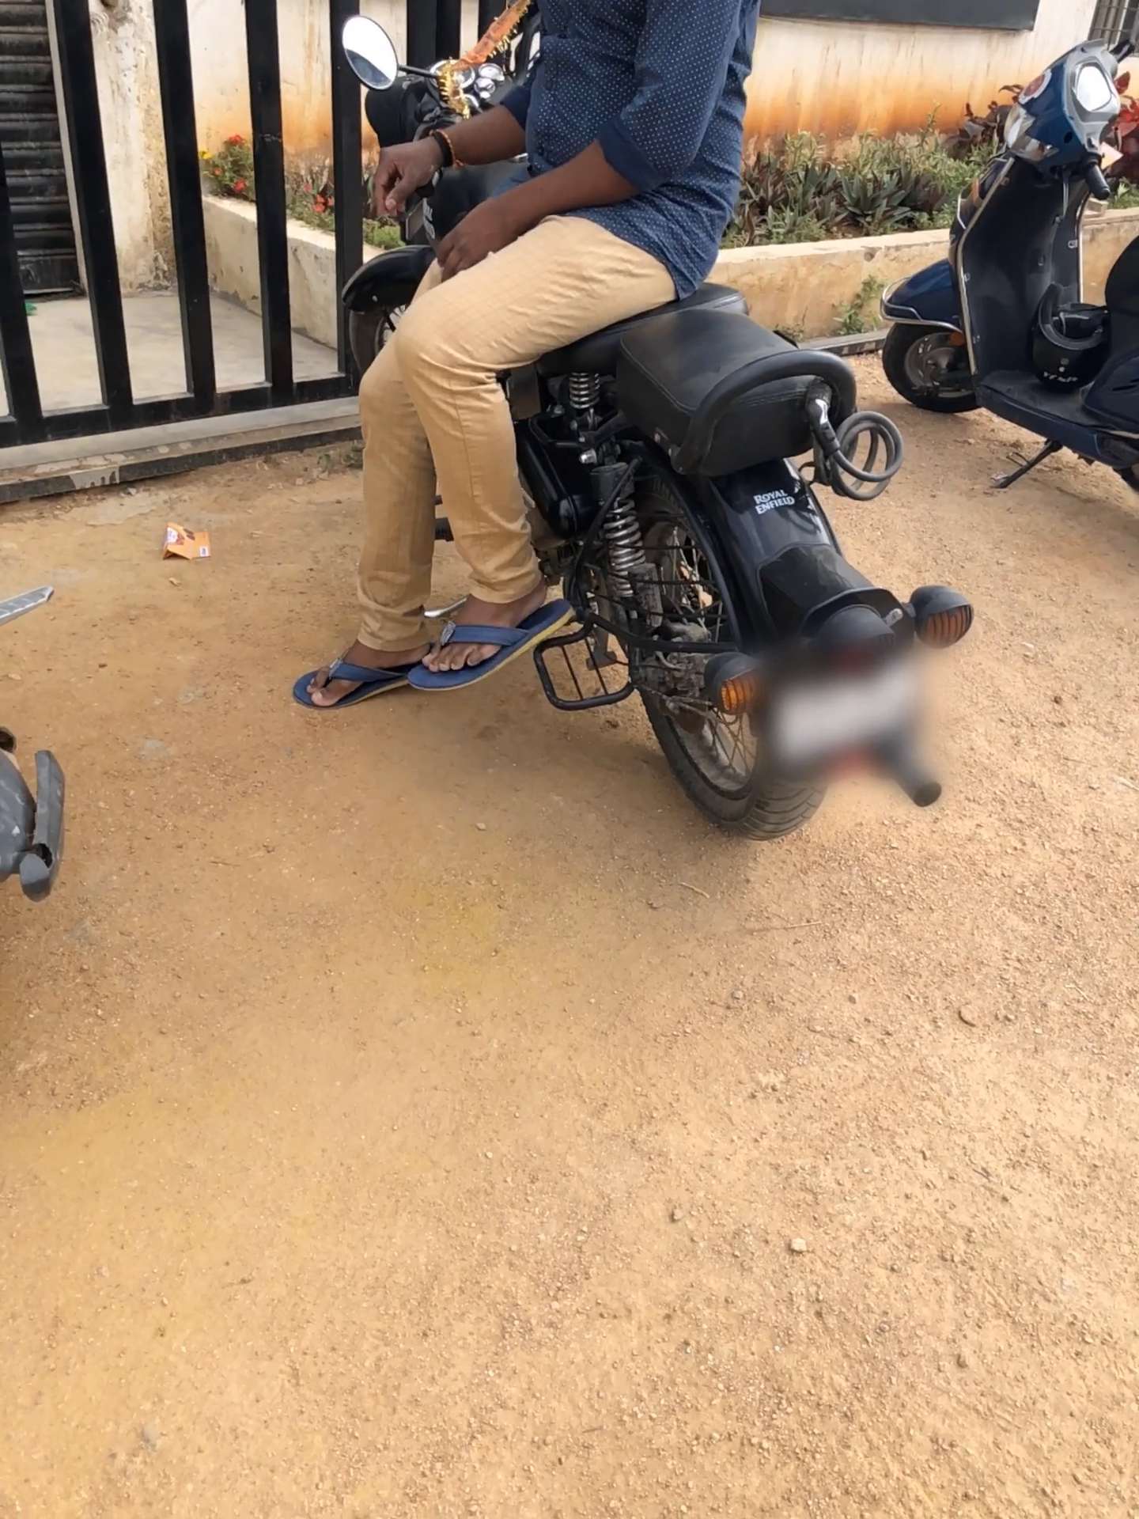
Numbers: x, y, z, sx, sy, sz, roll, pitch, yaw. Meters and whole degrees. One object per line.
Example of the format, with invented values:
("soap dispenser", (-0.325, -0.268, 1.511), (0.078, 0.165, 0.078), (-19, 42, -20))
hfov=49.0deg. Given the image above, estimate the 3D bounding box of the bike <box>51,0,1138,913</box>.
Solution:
("bike", (-0.190, -0.882, 2.168), (0.725, 1.169, 1.810), (-14, 43, -28))
